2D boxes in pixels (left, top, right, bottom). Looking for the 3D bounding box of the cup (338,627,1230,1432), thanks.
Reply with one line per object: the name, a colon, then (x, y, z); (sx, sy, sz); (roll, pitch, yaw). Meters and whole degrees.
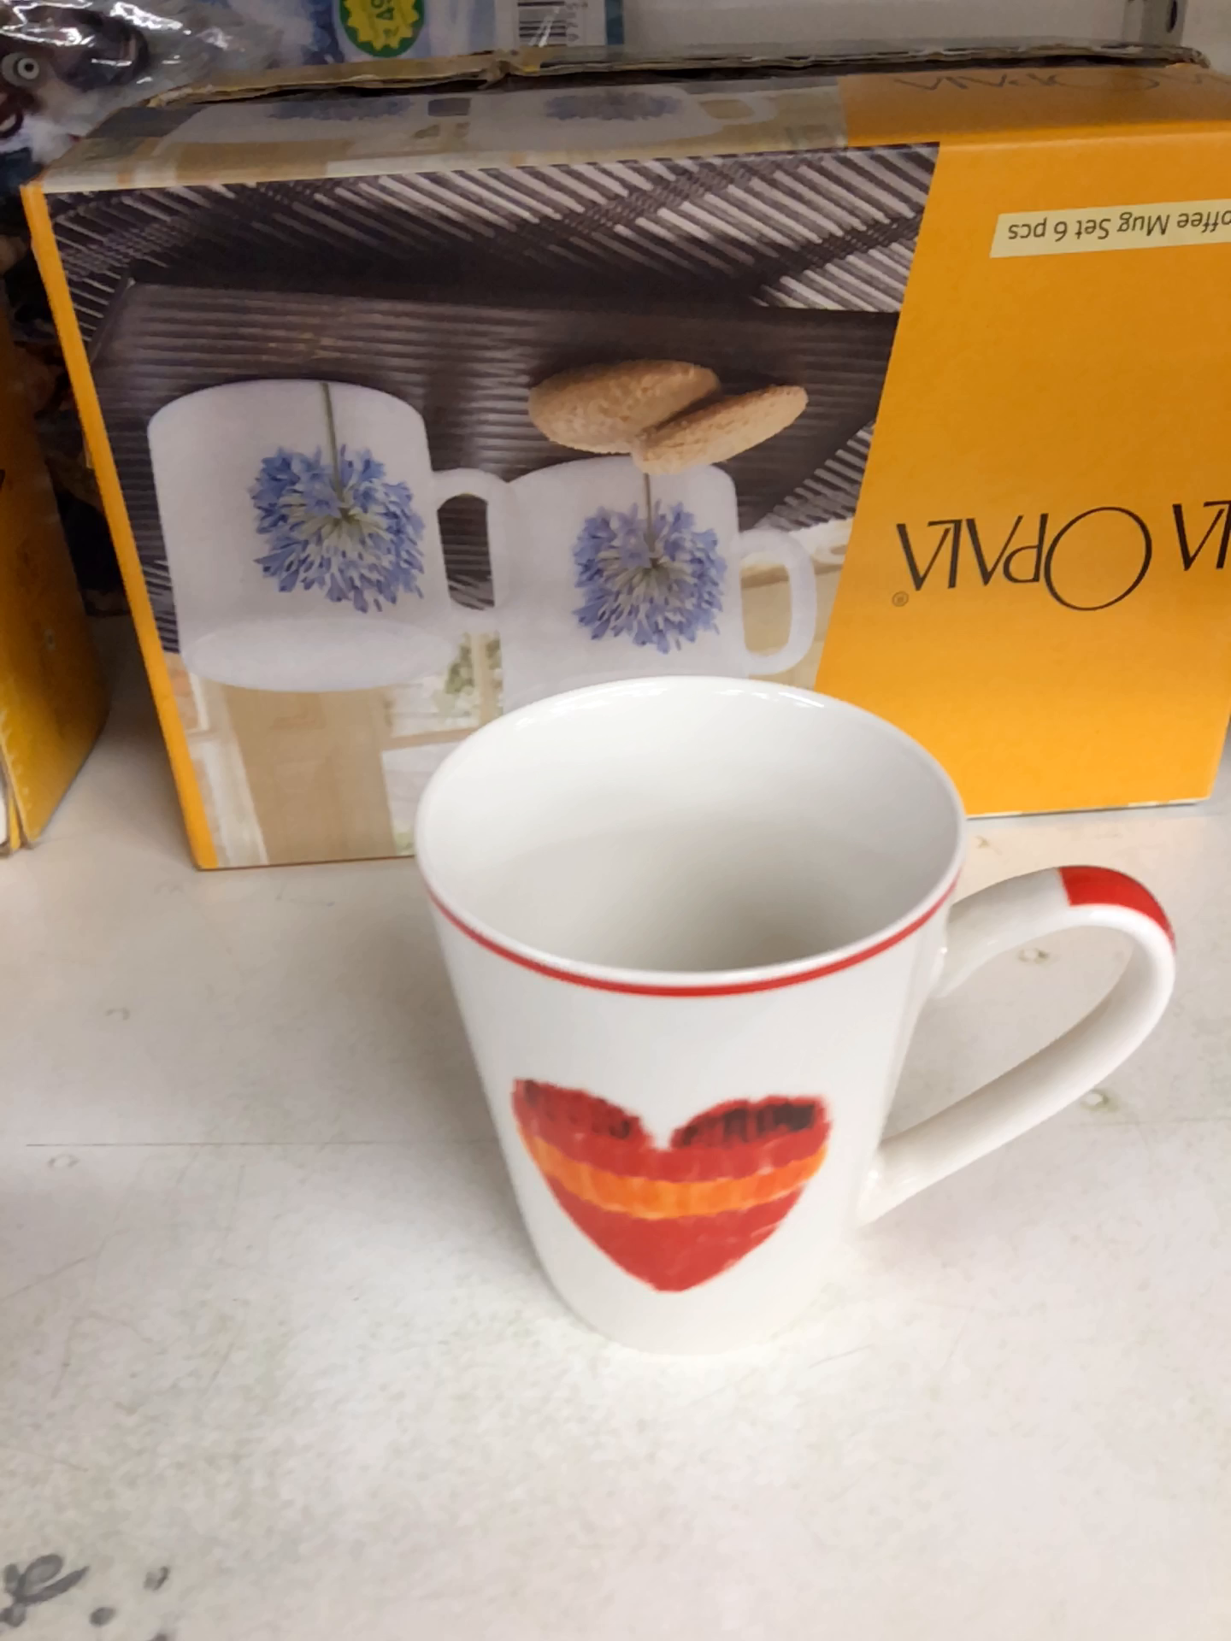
cup: (0.029, 0.033, 0.223); (0.120, 0.099, 0.081); (-1, 34, 1)
